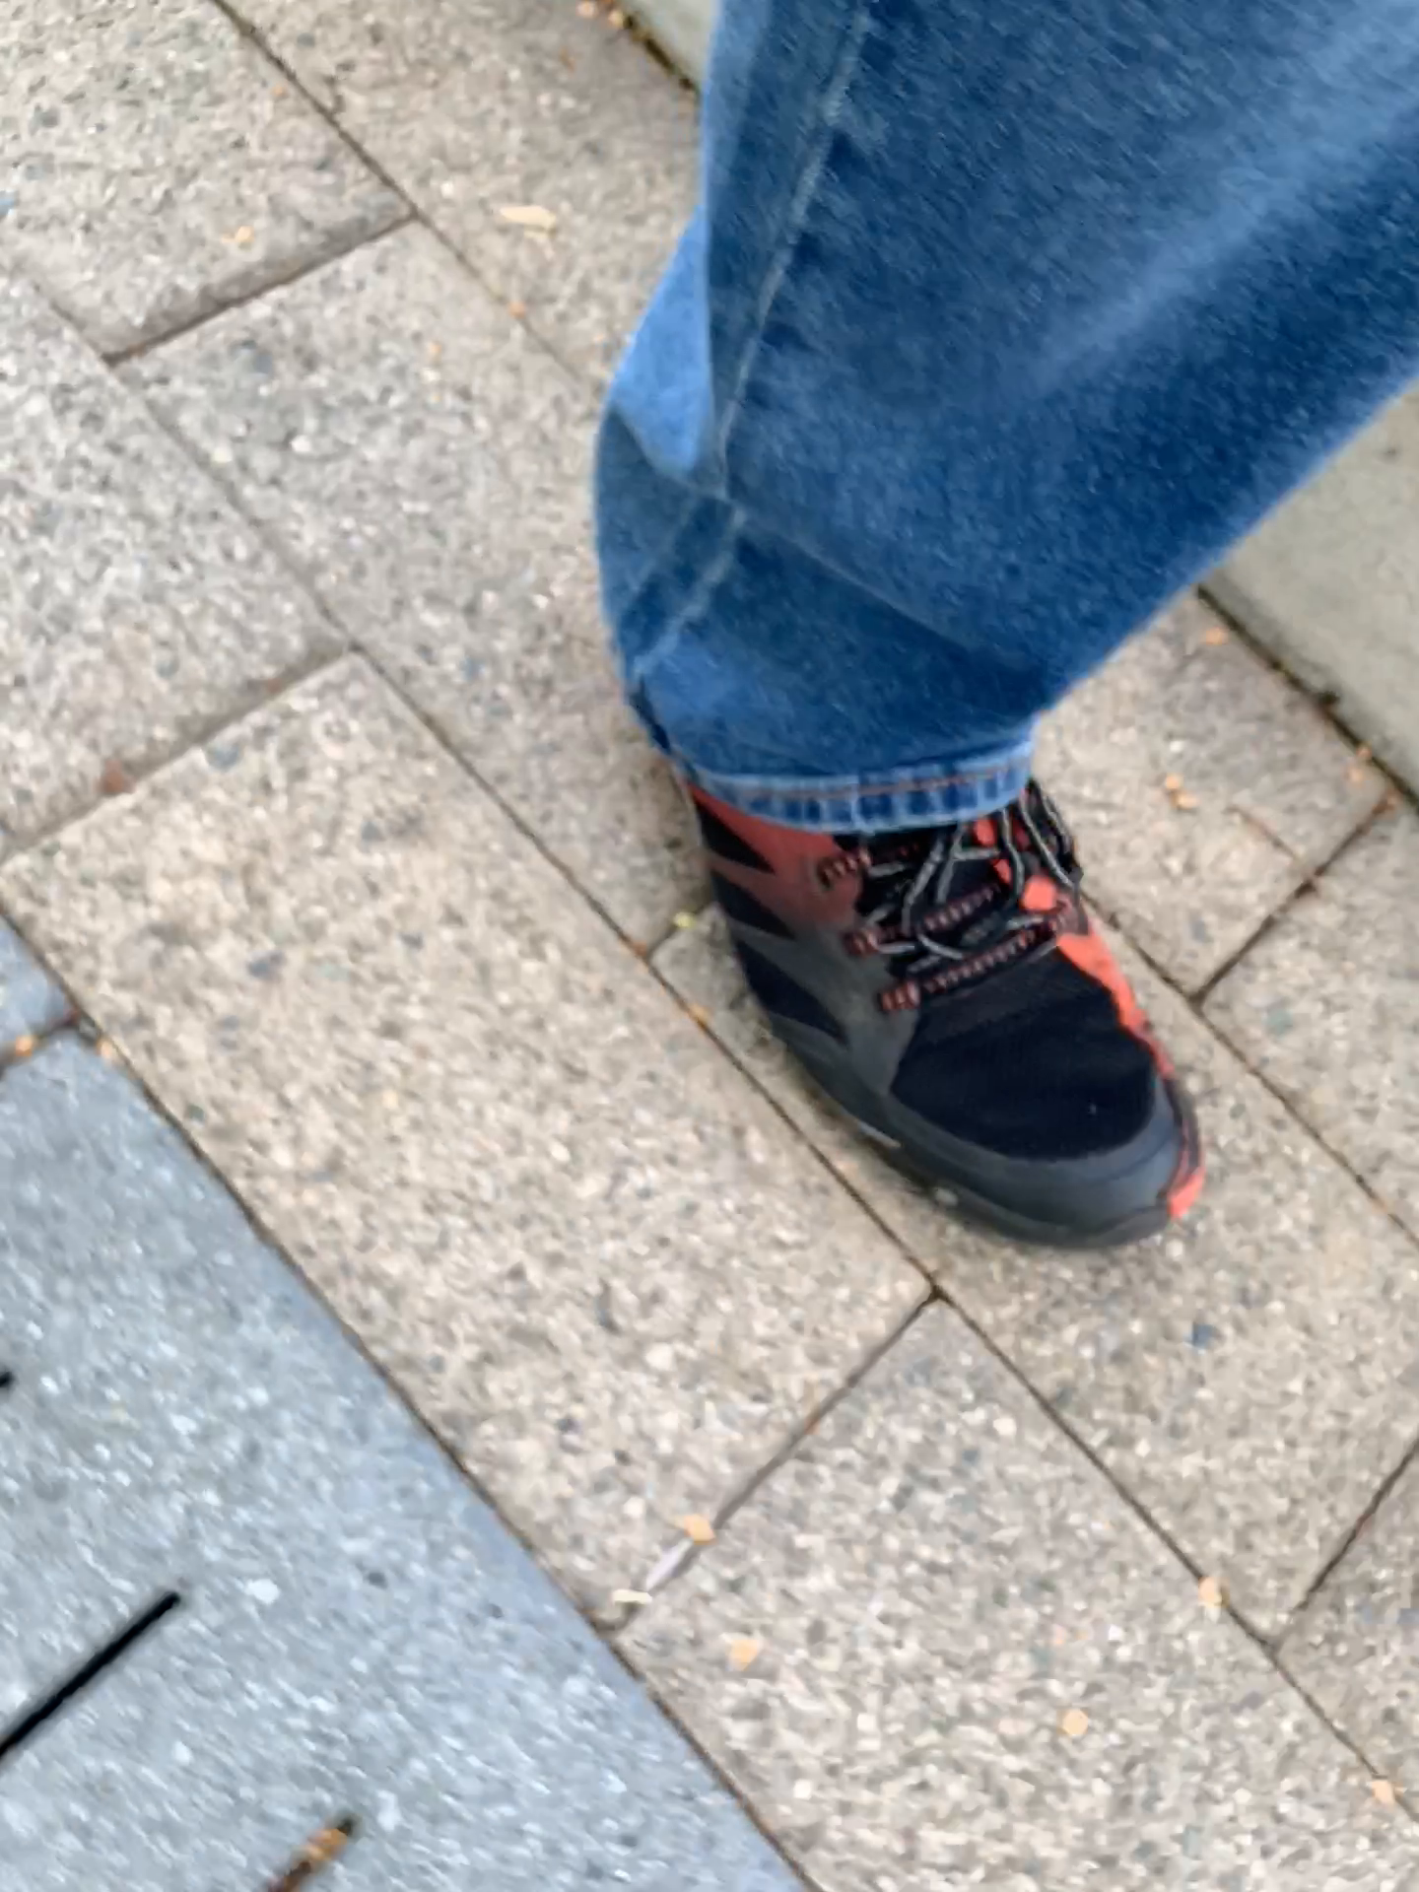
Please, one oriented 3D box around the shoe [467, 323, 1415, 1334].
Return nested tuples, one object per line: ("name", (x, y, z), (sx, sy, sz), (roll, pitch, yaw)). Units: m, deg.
("shoe", (0.065, -0.046, 0.486), (0.137, 0.080, 0.306), (-31, 78, -24))
